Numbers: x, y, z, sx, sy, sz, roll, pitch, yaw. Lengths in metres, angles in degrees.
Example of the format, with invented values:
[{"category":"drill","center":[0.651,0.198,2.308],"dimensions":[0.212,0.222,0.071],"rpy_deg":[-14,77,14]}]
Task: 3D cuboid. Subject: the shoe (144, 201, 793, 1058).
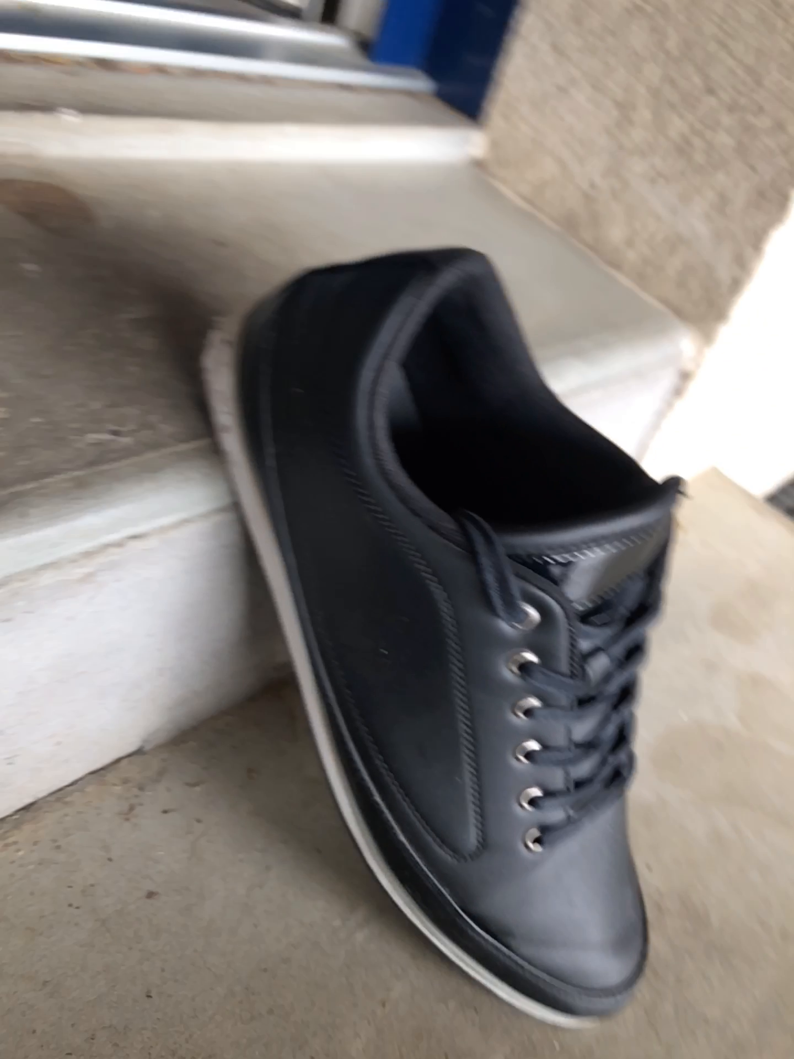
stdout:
[{"category":"shoe","center":[0.042,0.047,0.309],"dimensions":[0.131,0.089,0.290],"rpy_deg":[-25,96,-45]}]
